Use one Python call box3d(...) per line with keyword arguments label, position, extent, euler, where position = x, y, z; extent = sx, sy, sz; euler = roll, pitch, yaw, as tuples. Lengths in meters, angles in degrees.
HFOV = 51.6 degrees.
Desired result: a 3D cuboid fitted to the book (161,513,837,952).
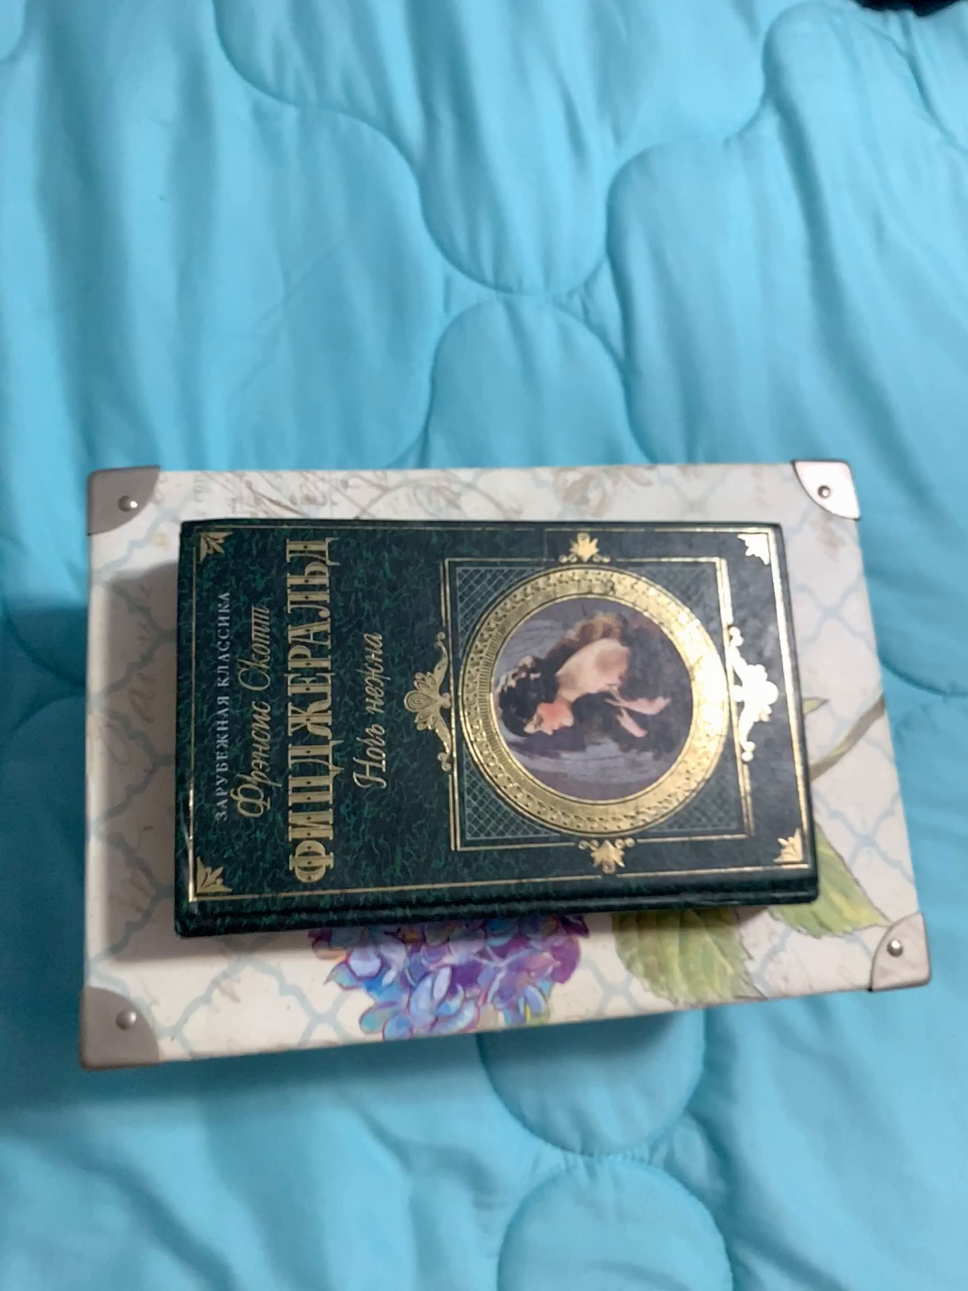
box3d(label="book", position=(0.005, 0.026, 0.351), extent=(0.220, 0.030, 0.140), euler=(-1, 78, -9))
